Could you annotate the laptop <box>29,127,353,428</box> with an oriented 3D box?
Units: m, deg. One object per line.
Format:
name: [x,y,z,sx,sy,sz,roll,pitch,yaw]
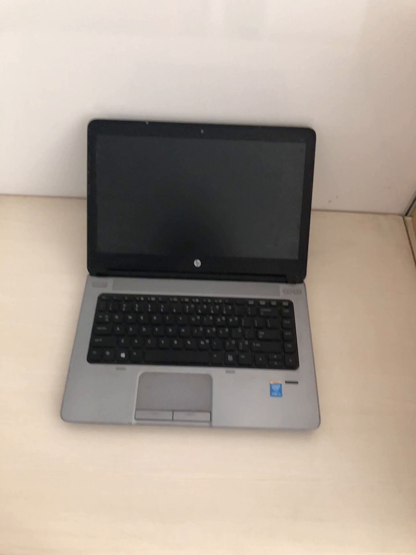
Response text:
laptop: [-0.014,-0.015,0.622,0.322,0.148,0.379,2,56,0]
